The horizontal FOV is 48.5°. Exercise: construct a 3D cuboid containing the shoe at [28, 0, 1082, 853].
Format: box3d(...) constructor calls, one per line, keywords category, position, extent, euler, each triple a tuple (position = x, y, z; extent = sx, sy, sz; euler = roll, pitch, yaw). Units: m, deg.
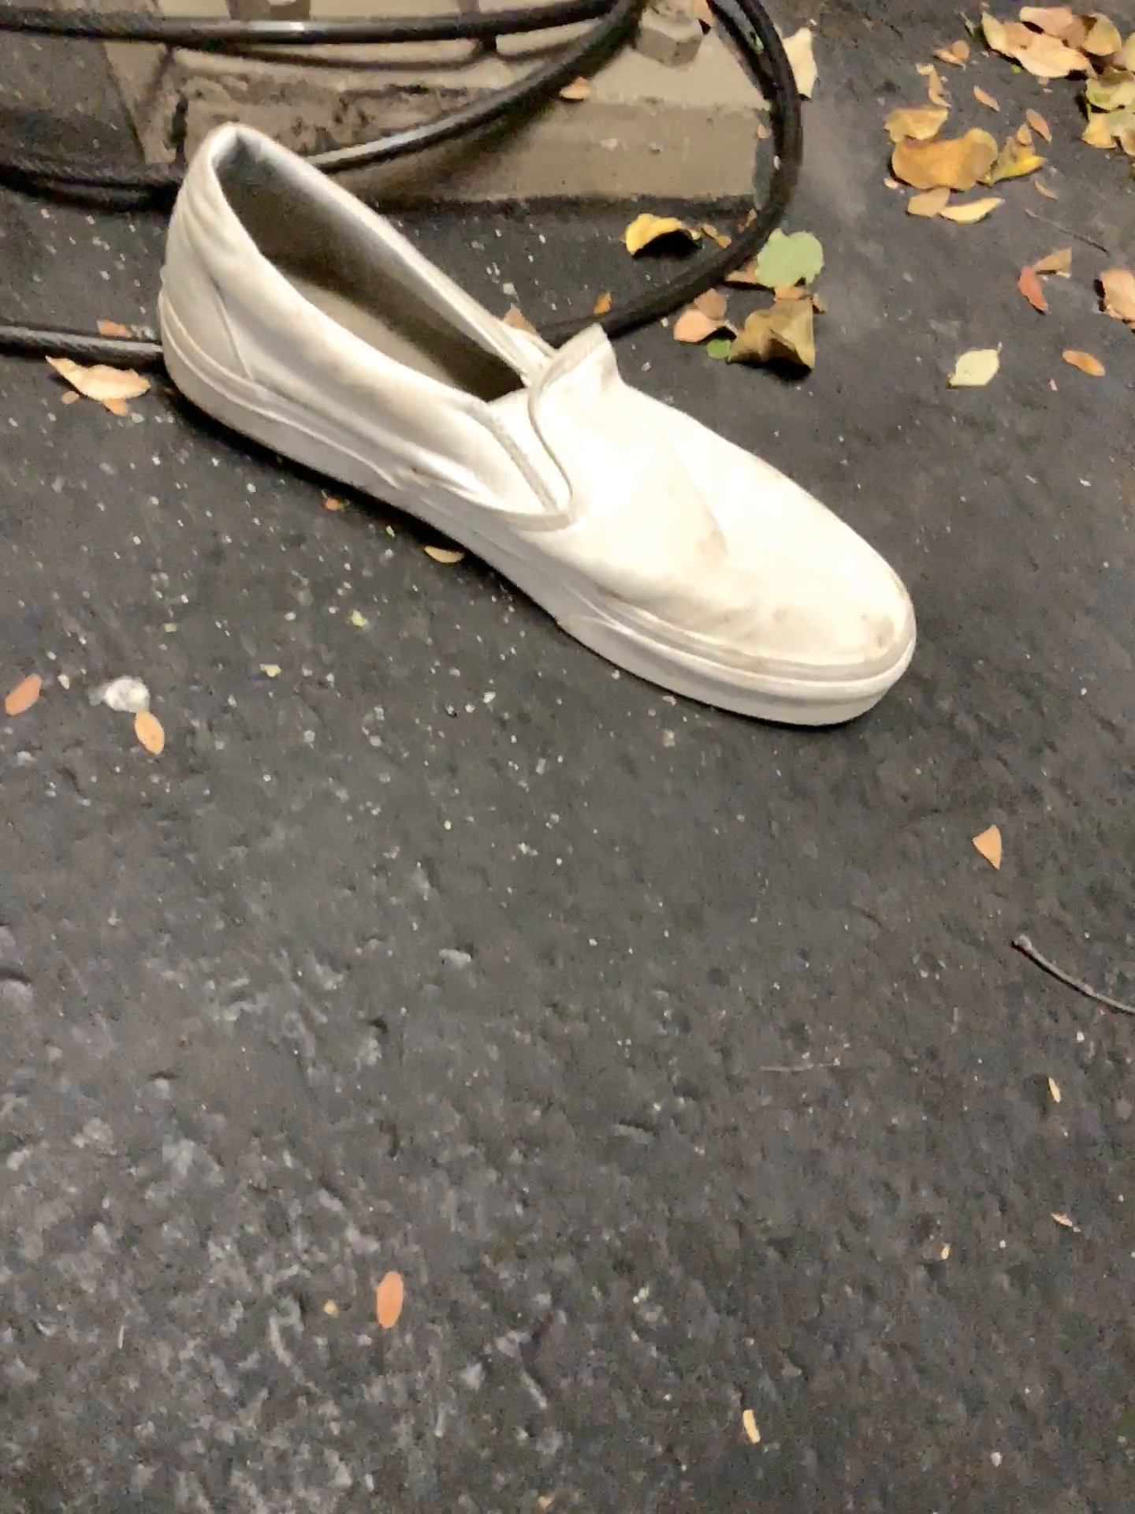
box3d(category="shoe", position=(-0.005, -0.114, 0.420), extent=(0.310, 0.100, 0.120), euler=(30, 52, 2))
